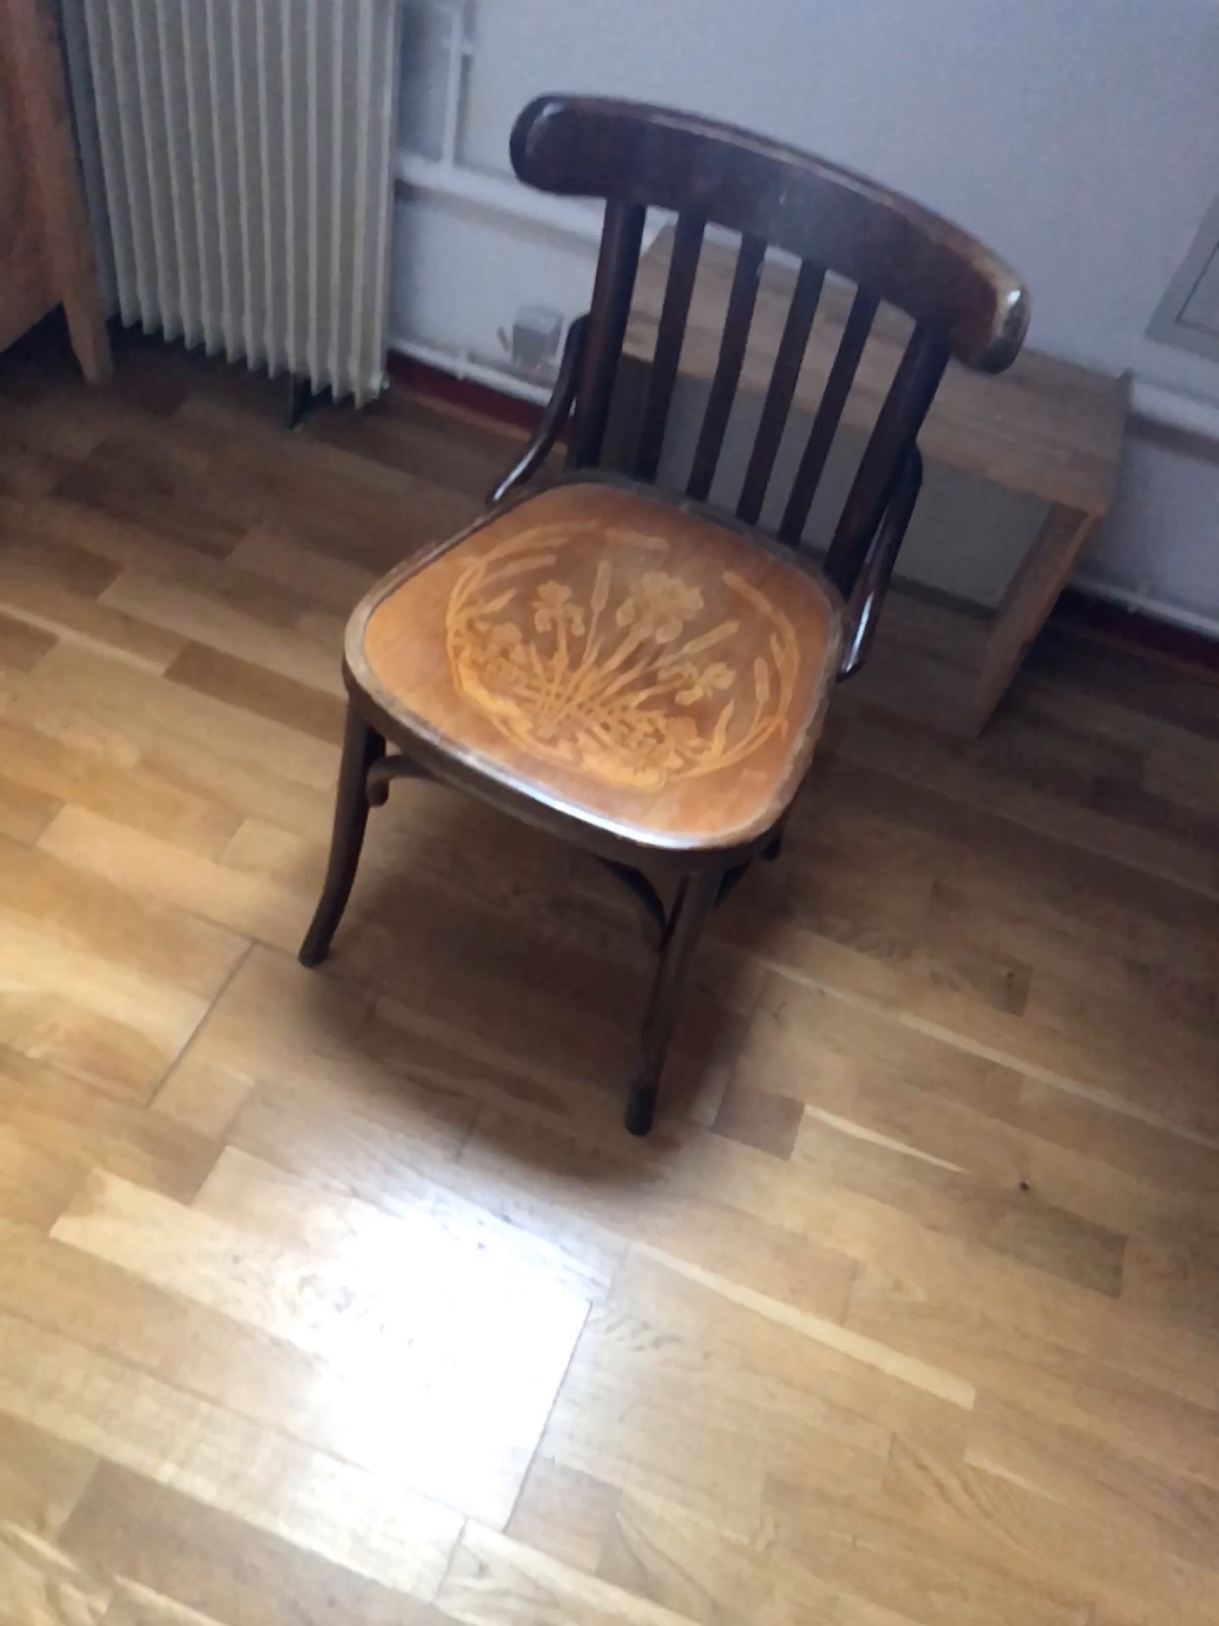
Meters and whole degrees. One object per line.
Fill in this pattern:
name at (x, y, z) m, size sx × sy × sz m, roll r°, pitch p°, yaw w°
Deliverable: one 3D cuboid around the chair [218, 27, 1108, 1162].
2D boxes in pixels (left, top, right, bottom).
chair at (0.005, -0.131, 1.126) m, size 0.442 × 0.737 × 0.414 m, roll 26°, pitch 52°, yaw 8°
